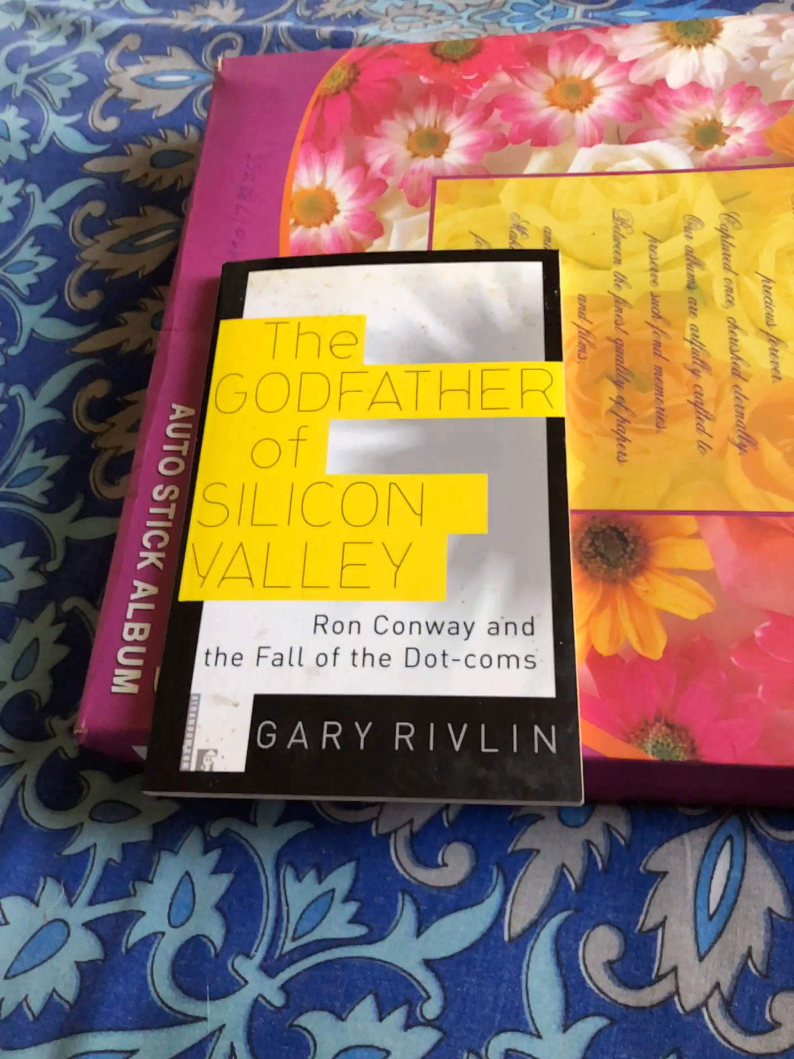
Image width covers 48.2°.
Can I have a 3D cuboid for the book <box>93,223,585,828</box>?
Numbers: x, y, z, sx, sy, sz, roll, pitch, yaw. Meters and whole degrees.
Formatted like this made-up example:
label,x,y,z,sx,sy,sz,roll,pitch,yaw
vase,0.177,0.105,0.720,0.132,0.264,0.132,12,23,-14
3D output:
label,x,y,z,sx,sy,sz,roll,pitch,yaw
book,-0.013,-0.013,0.318,0.150,0.020,0.220,1,68,6
